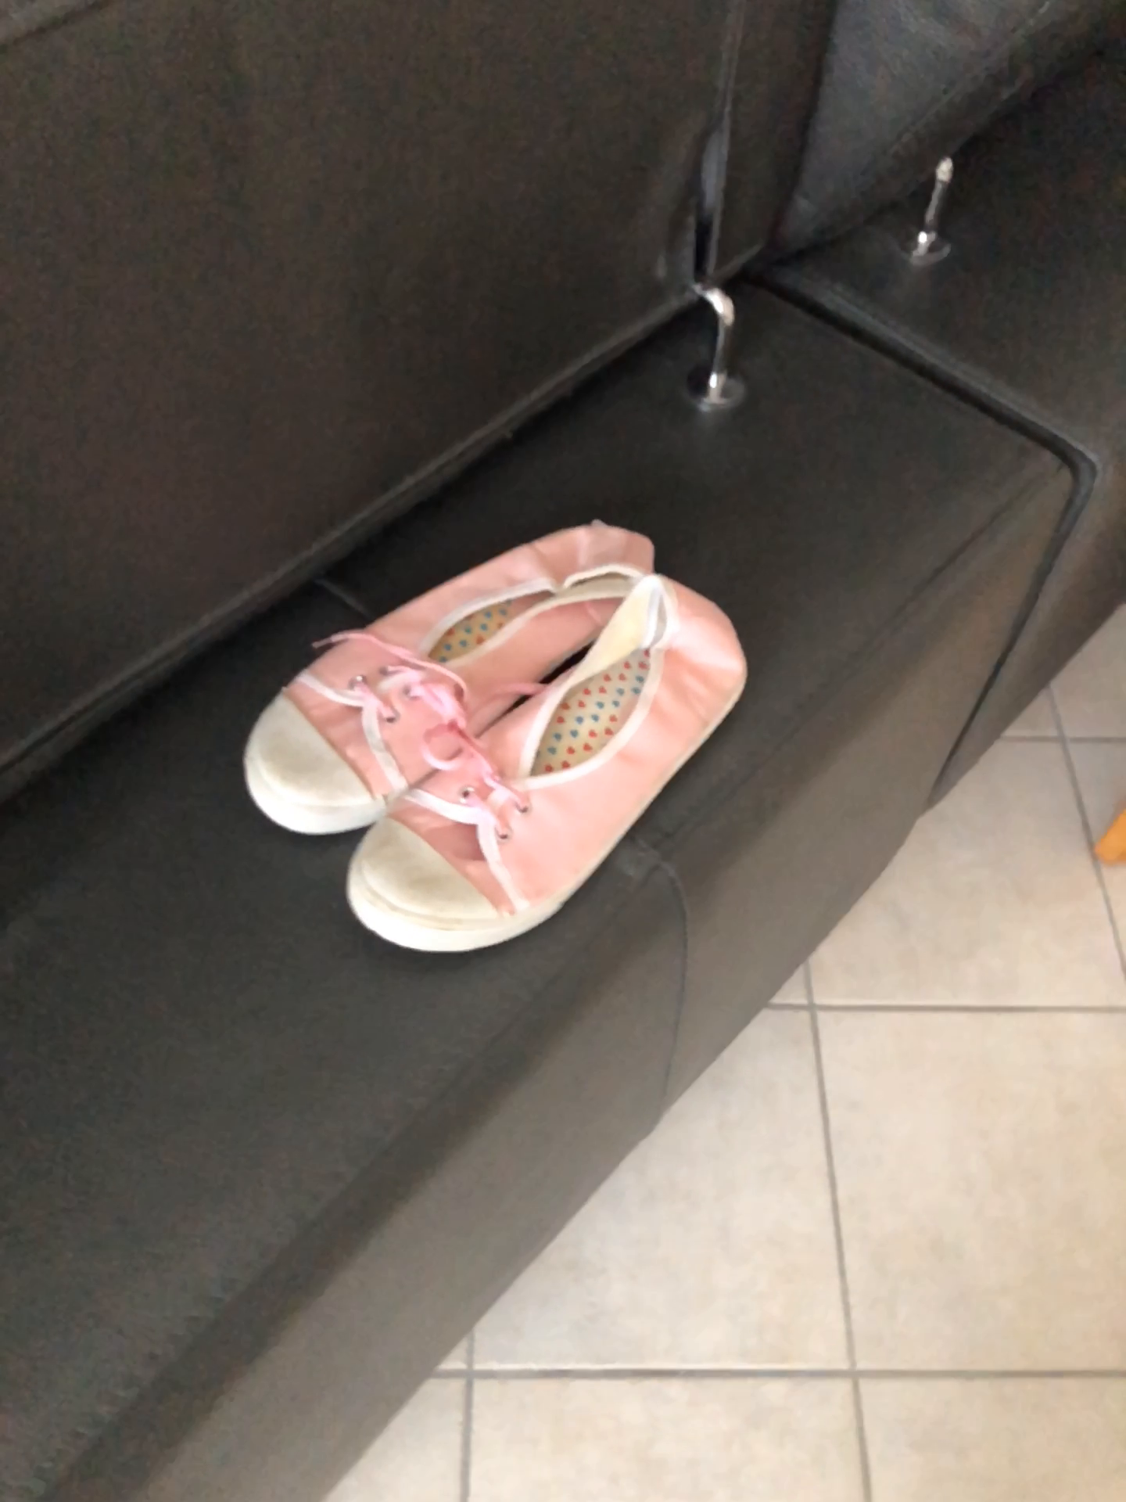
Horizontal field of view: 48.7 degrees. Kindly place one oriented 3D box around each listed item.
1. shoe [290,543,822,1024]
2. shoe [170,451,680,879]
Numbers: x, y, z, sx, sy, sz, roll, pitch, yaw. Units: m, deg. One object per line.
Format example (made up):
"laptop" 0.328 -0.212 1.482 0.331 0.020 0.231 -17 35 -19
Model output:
"shoe" 0.004 0.005 0.563 0.090 0.040 0.241 40 63 22
"shoe" -0.059 -0.050 0.604 0.090 0.040 0.241 40 63 22
